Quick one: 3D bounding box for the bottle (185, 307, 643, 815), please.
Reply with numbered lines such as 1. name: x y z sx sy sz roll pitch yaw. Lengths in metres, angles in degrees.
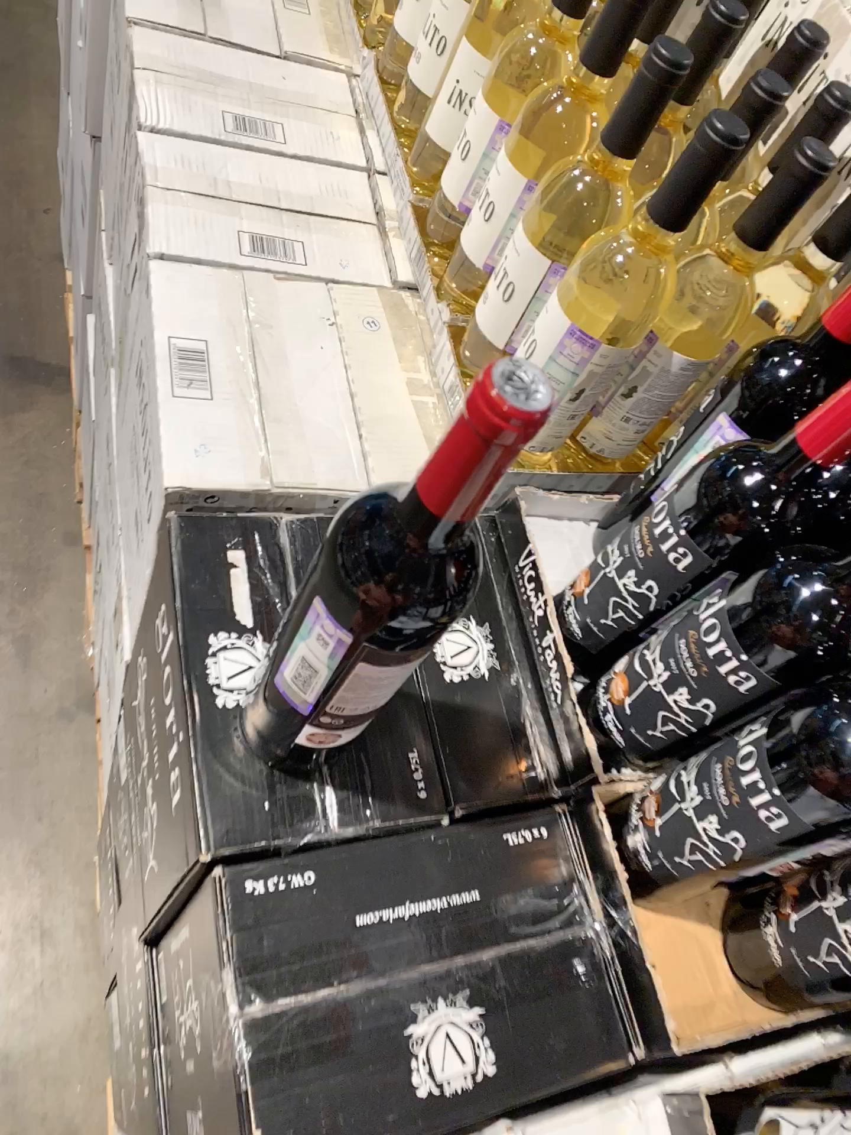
1. bottle: -0.037 0.024 0.406 0.090 0.318 0.080 -11 67 -28
